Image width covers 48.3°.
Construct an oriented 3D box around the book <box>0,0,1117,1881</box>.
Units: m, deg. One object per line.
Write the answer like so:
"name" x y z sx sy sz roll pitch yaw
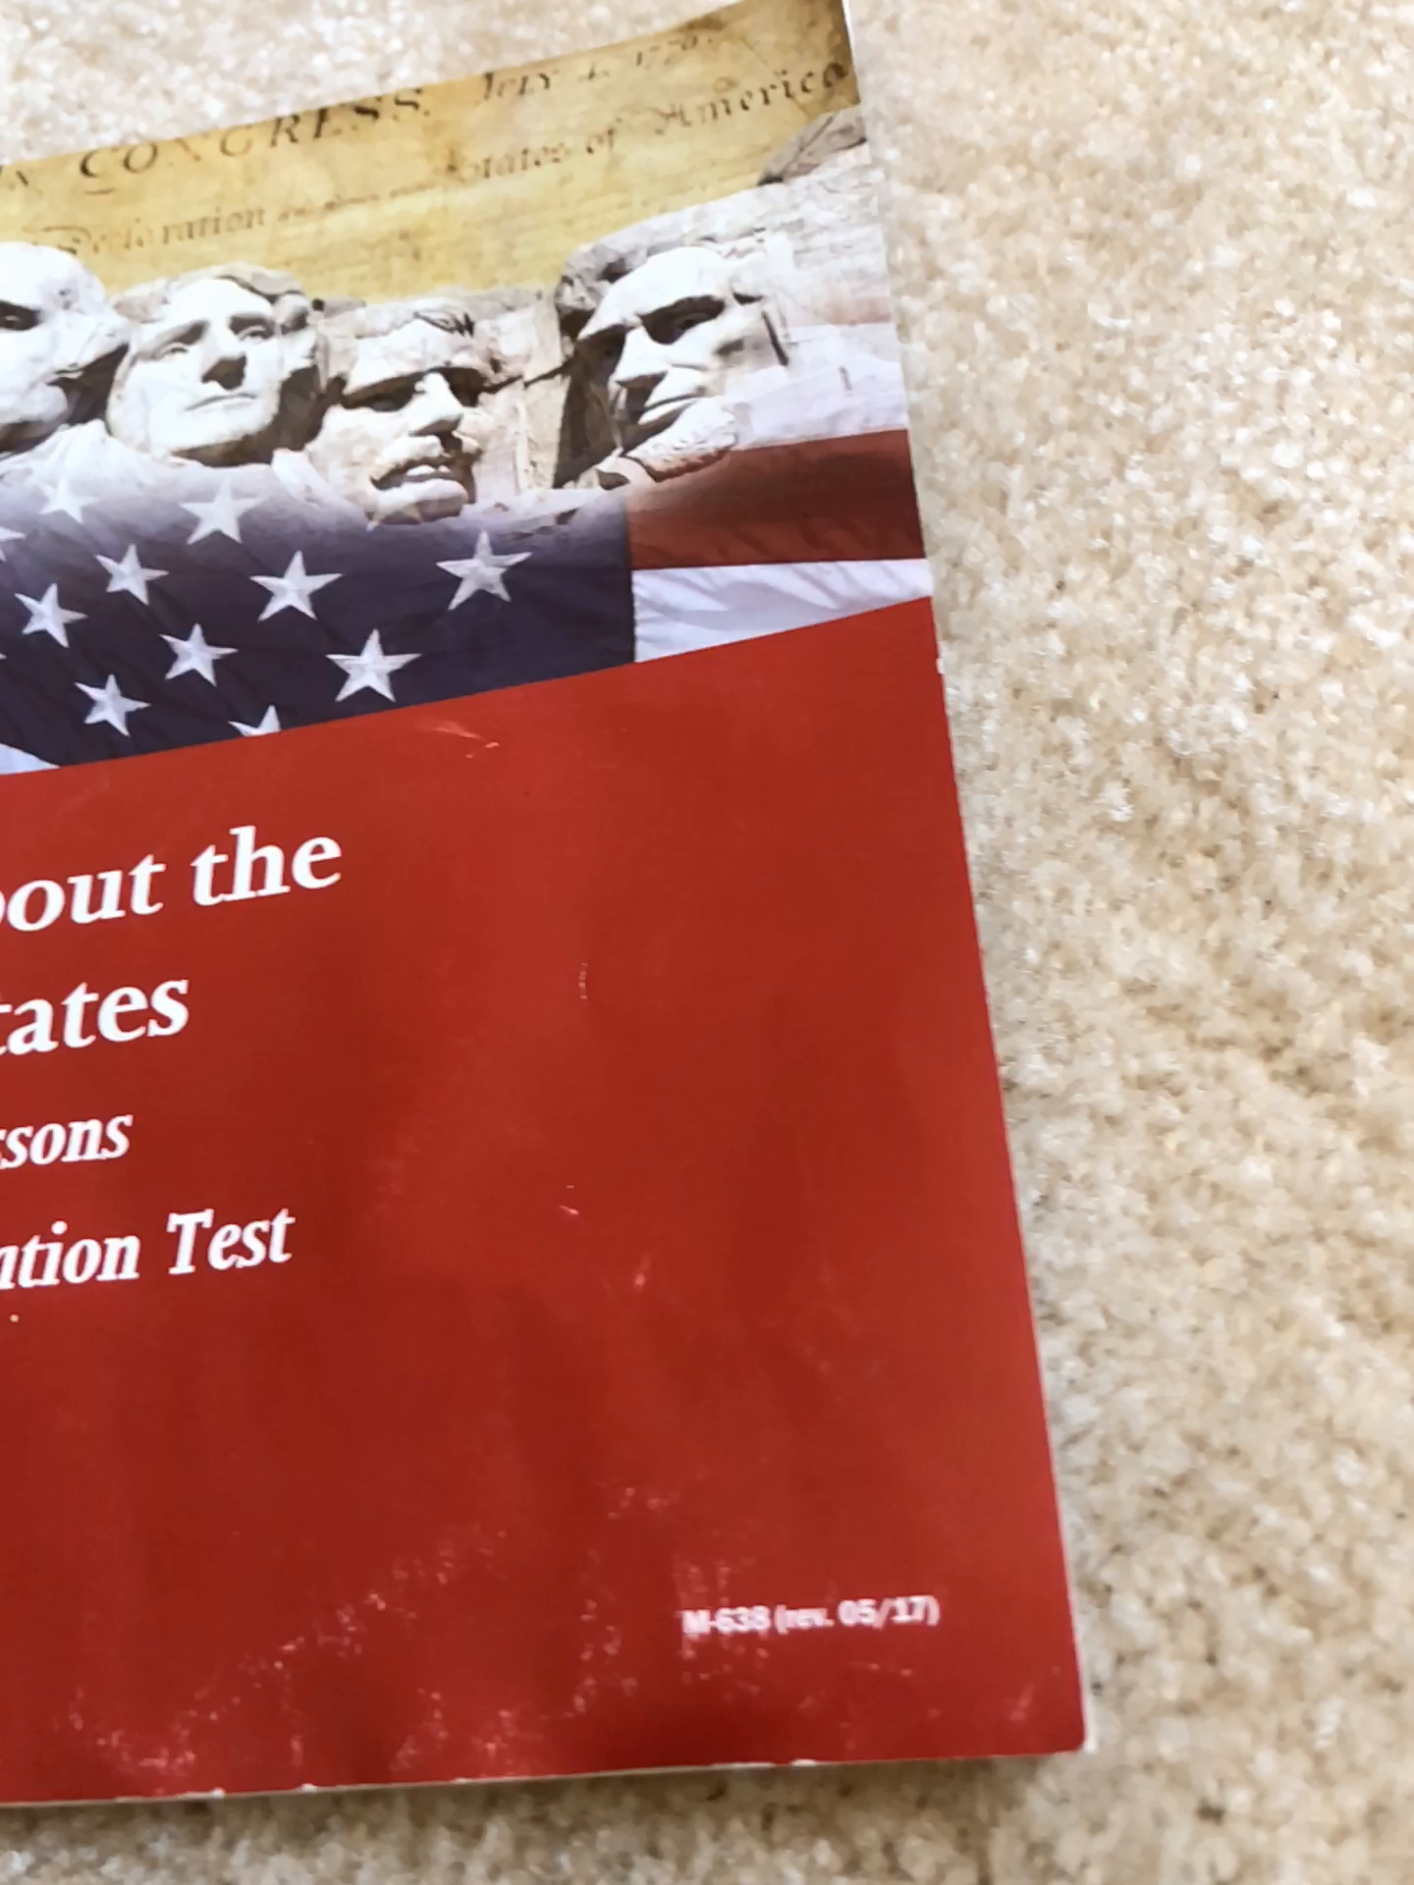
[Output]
"book" -0.069 -0.026 0.233 0.208 0.028 0.274 -8 62 9
